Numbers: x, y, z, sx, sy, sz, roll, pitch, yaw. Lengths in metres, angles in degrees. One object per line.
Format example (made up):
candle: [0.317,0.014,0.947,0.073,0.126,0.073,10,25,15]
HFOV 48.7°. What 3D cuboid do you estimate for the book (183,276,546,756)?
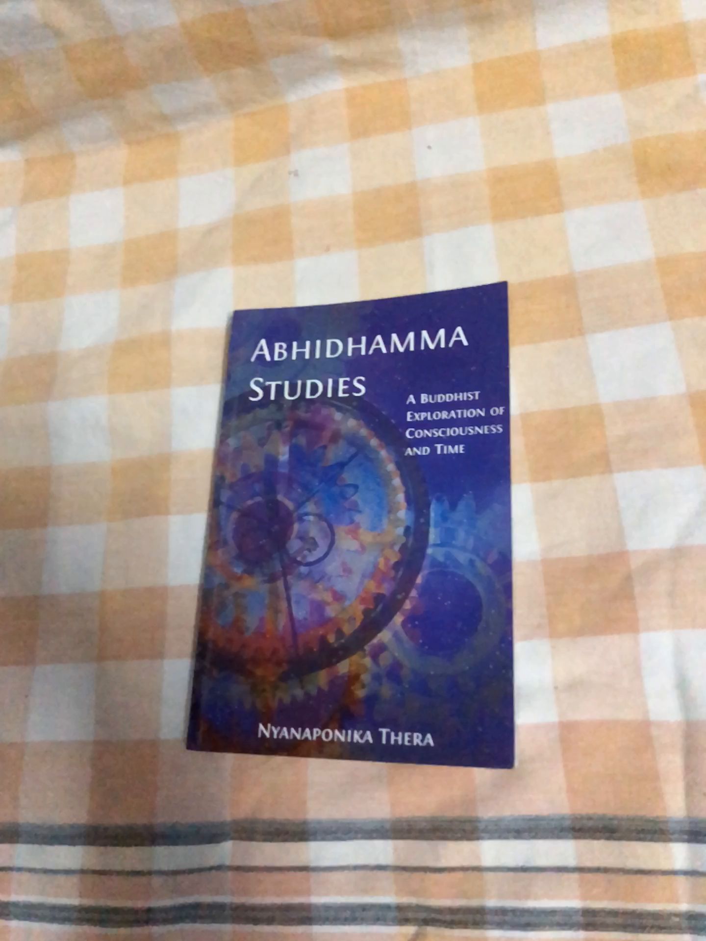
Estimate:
book: [0.007,0.015,0.357,0.150,0.020,0.210,-2,71,13]
